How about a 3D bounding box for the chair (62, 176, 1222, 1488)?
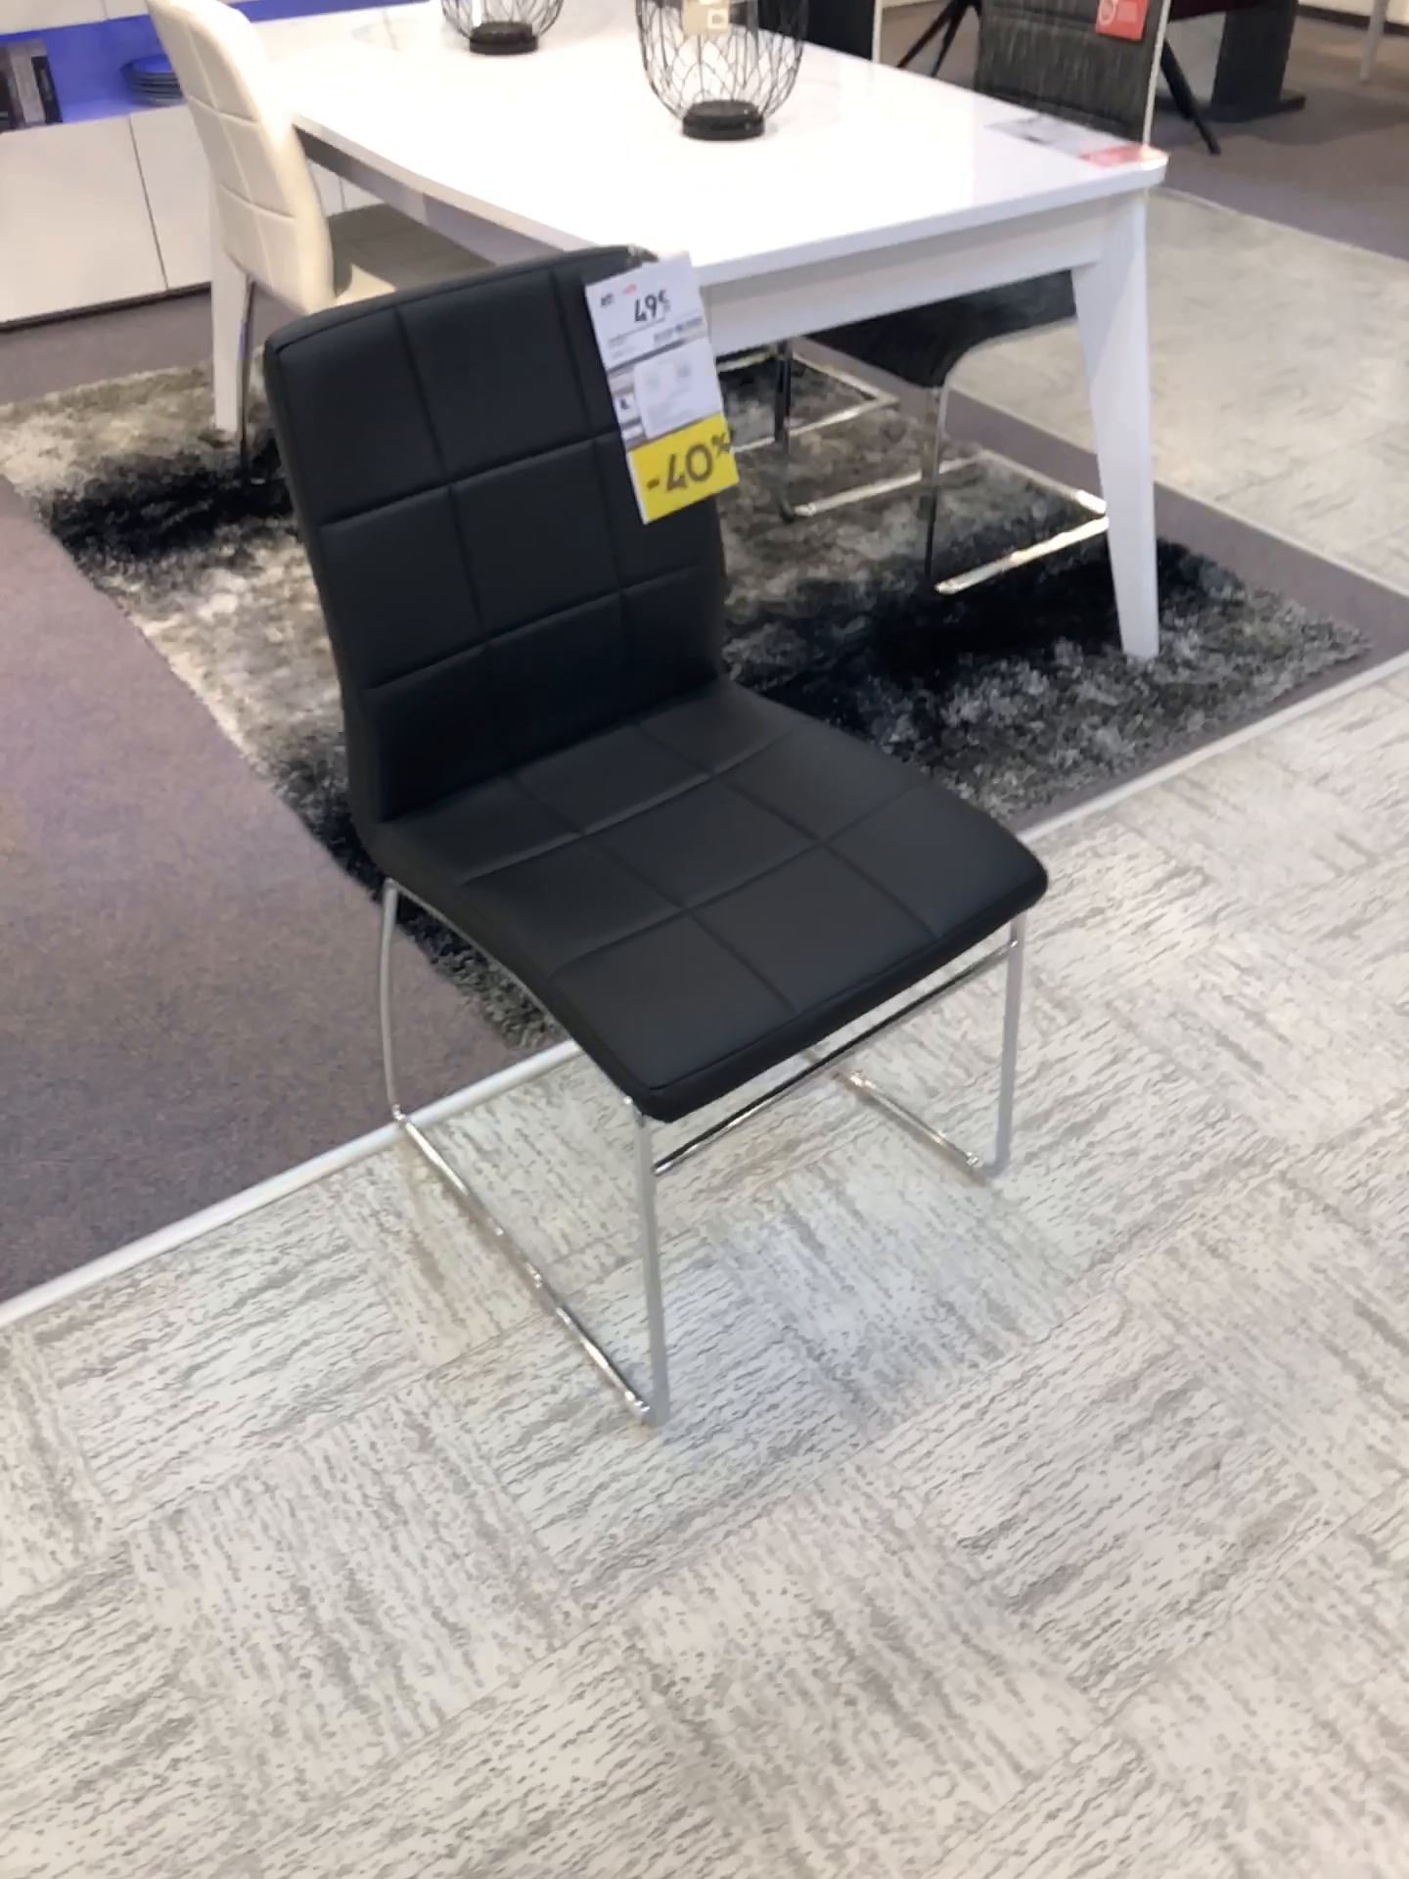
[{"bbox_3d":[-0.062,-0.122,1.343,0.552,0.795,0.631,-27,47,-28],"label":"chair"}]
